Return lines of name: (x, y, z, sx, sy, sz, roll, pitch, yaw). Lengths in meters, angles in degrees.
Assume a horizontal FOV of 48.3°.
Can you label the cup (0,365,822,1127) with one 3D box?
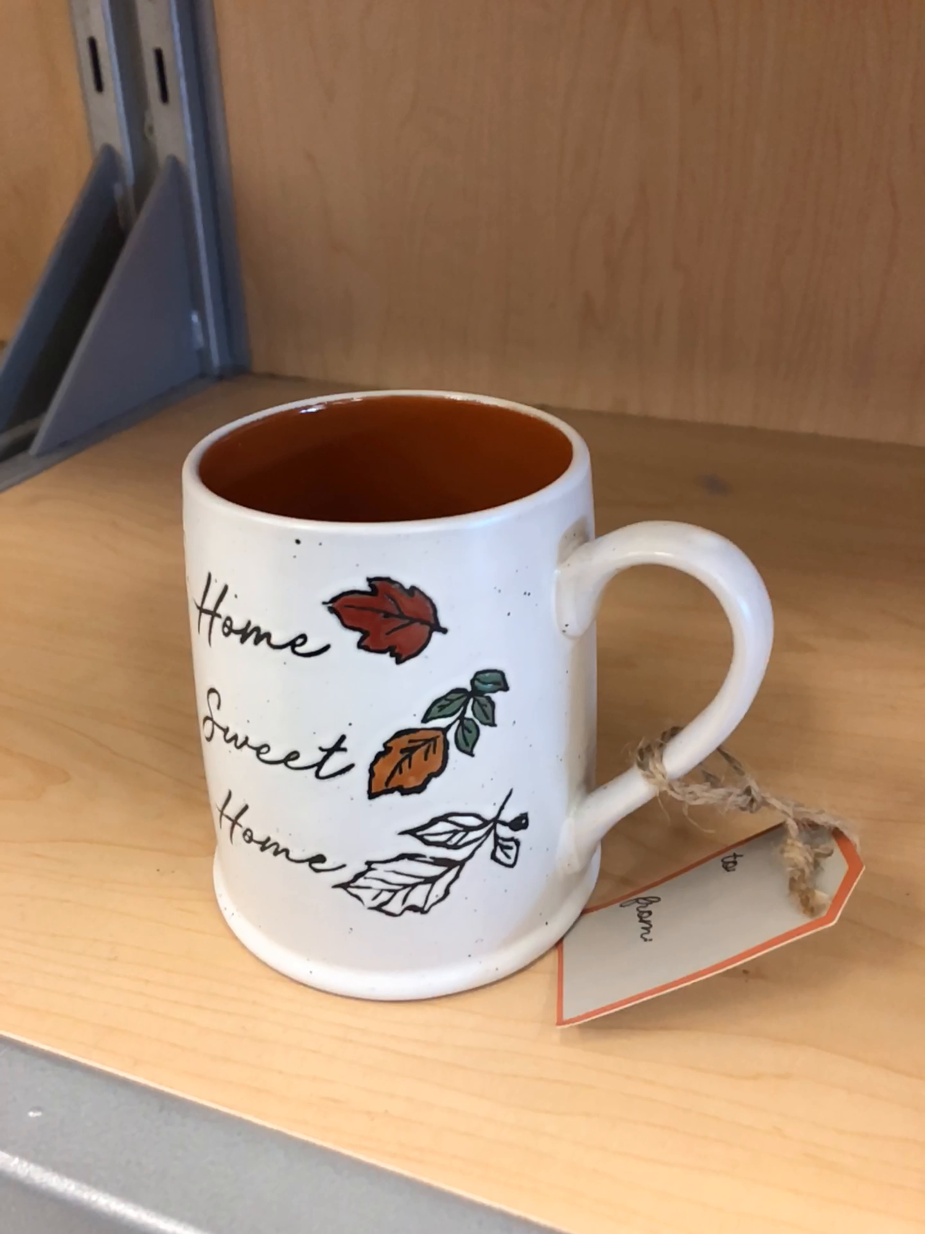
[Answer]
cup: (-0.003, 0.015, 0.203, 0.125, 0.099, 0.081, 9, 31, 17)
